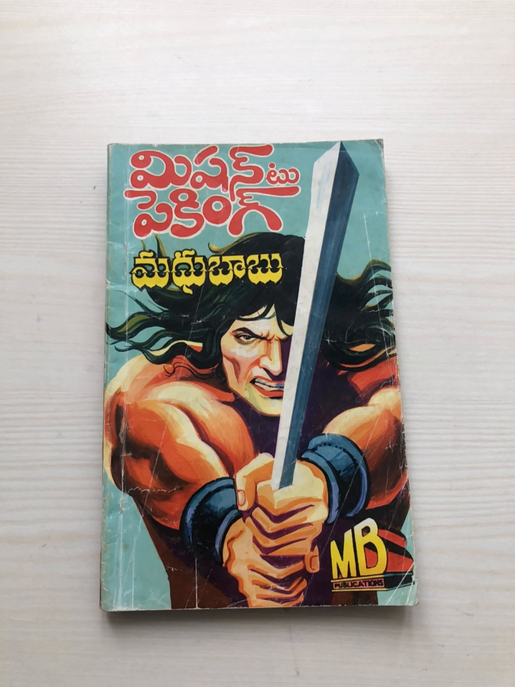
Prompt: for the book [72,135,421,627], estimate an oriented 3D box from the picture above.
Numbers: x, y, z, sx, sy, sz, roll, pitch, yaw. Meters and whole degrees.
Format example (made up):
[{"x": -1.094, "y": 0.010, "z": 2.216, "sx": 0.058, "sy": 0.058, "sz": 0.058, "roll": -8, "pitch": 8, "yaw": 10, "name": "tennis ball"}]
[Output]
[{"x": -0.005, "y": 0.008, "z": 0.193, "sx": 0.100, "sy": 0.030, "sz": 0.150, "roll": -2, "pitch": 80, "yaw": 0, "name": "book"}]
